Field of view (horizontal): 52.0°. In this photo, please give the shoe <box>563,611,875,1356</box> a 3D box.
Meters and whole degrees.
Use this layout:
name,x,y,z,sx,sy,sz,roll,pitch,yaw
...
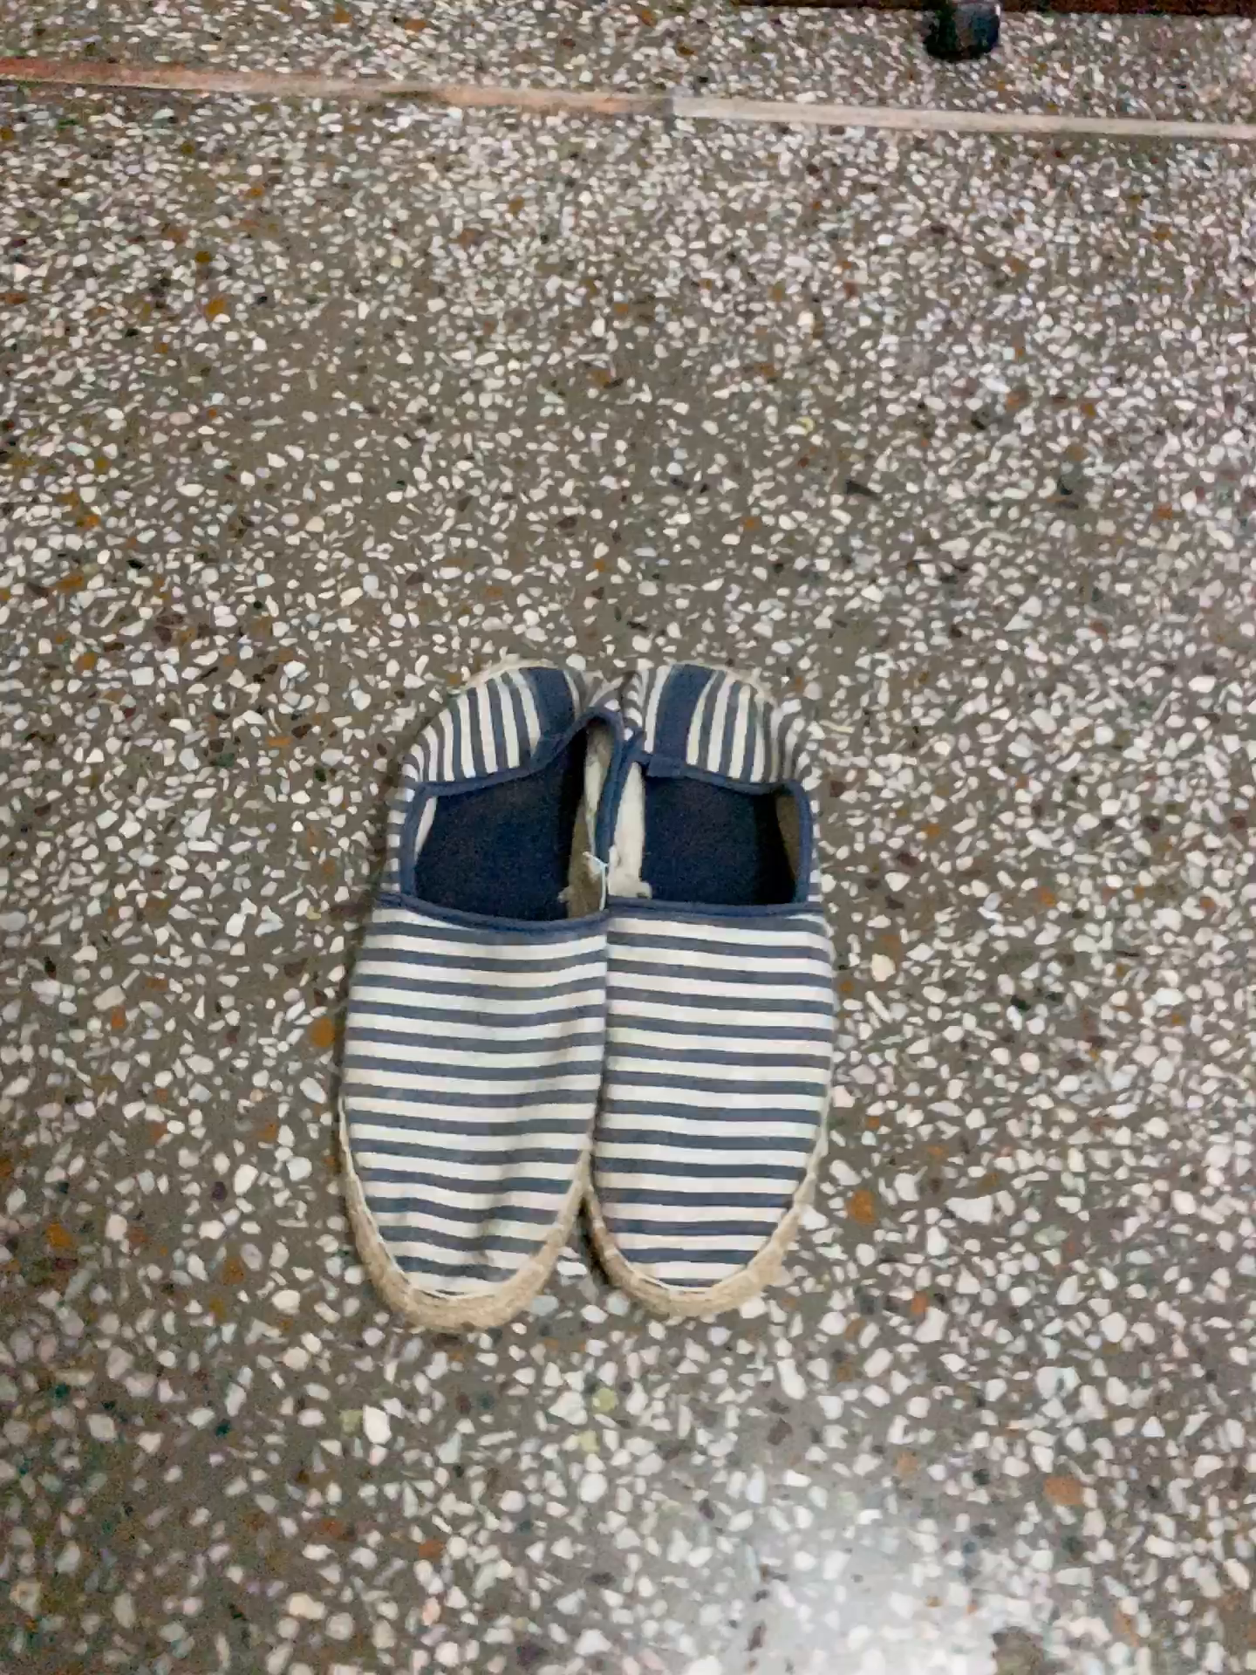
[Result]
name,x,y,z,sx,sy,sz,roll,pitch,yaw
shoe,0.042,0.047,0.520,0.100,0.050,0.289,7,64,-1

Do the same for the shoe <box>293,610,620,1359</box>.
name,x,y,z,sx,sy,sz,roll,pitch,yaw
shoe,-0.058,0.047,0.508,0.100,0.050,0.289,3,64,-3
